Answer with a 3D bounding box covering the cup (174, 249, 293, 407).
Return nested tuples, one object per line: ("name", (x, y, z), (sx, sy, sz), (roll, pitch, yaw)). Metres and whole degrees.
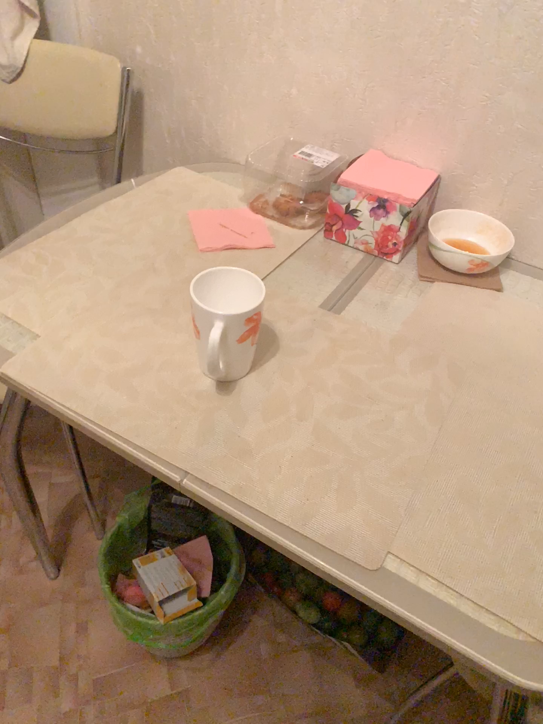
("cup", (-0.037, -0.038, 0.590), (0.090, 0.099, 0.121), (12, 44, 7))
